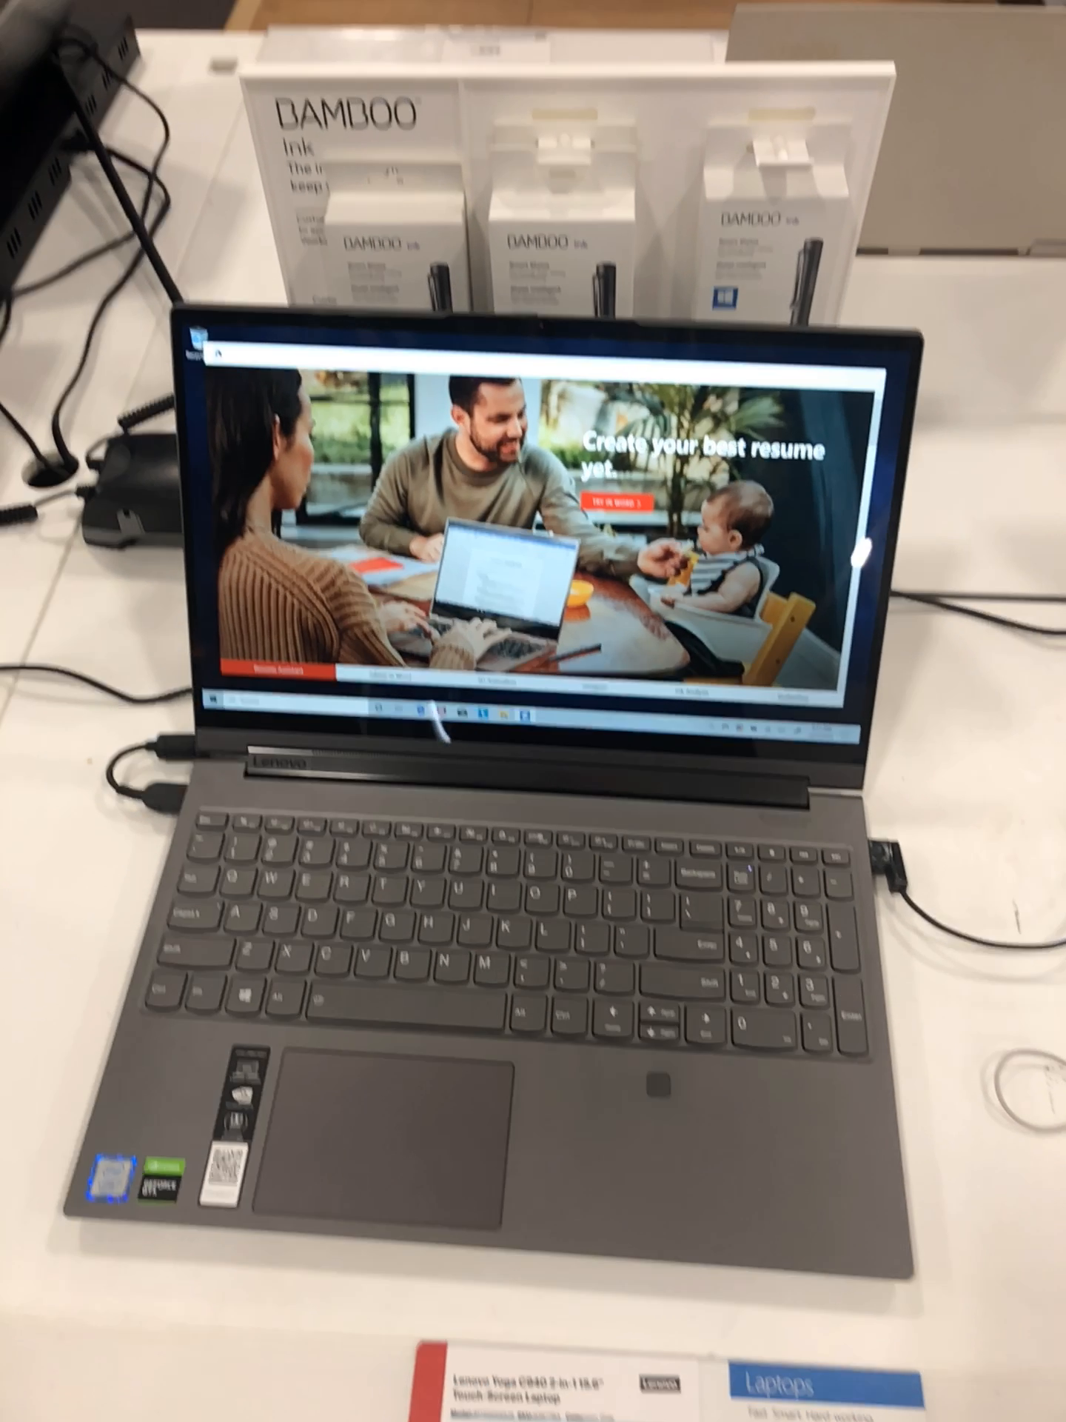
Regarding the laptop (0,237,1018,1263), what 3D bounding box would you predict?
[{"bbox_3d":[-0.010,0.005,0.518,0.336,0.169,0.375,3,60,2],"label":"laptop"}]
